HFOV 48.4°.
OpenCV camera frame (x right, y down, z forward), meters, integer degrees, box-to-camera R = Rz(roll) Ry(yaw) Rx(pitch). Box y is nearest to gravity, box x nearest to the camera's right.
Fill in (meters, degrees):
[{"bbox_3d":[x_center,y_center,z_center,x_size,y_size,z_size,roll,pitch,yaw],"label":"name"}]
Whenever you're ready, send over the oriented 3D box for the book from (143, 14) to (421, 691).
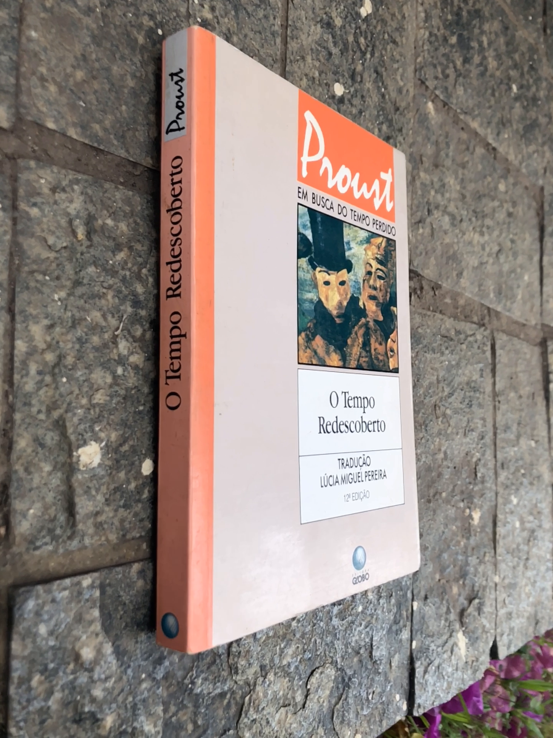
[{"bbox_3d":[0.011,-0.005,0.238,0.135,0.023,0.199,4,83,-49],"label":"book"}]
